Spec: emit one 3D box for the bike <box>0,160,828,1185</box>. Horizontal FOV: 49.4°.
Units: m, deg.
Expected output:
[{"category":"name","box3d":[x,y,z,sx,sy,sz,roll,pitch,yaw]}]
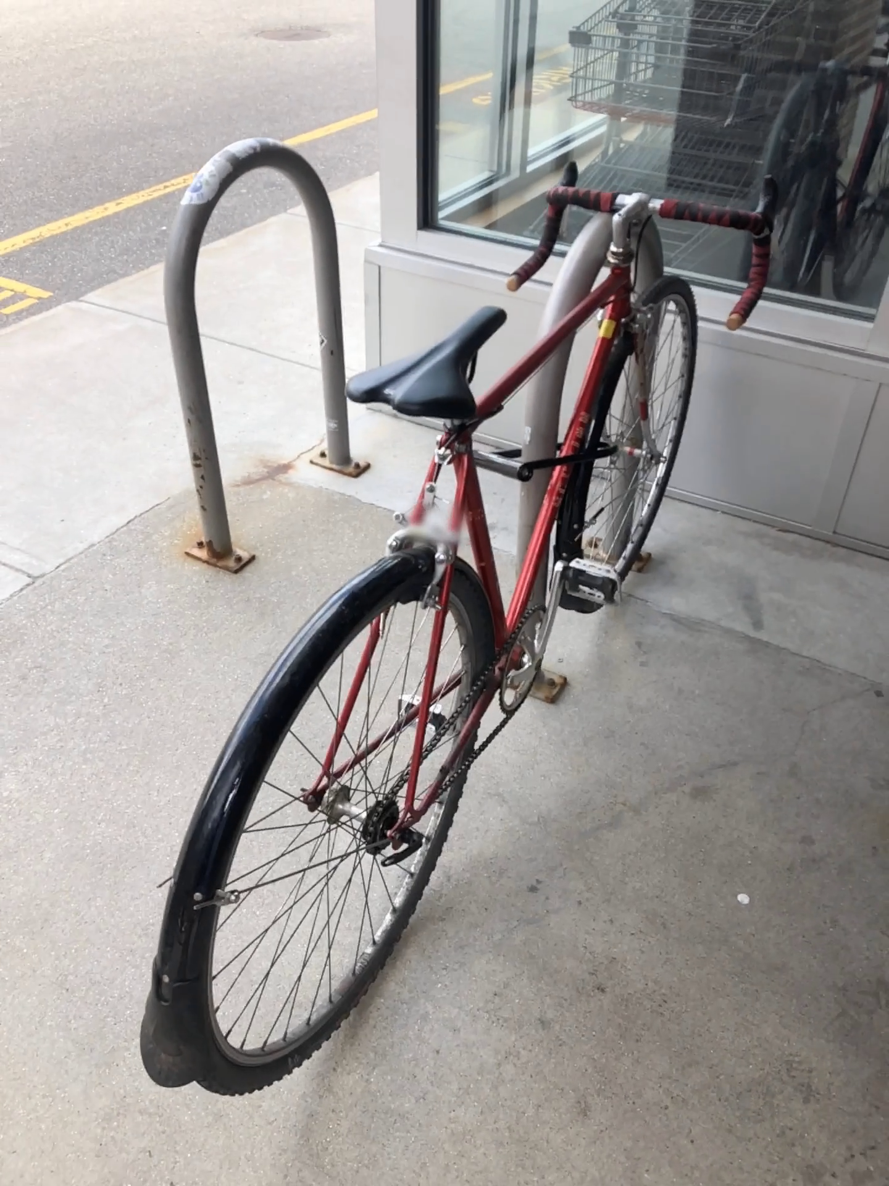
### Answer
[{"category":"bike","box3d":[0.120,-0.029,1.609,0.458,0.787,1.699,19,44,21]}]
